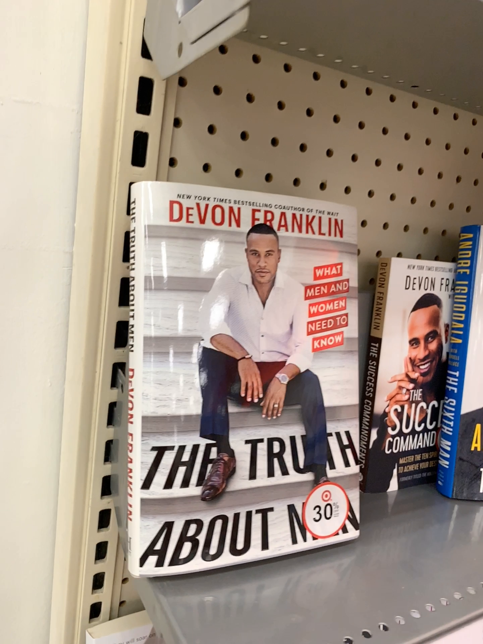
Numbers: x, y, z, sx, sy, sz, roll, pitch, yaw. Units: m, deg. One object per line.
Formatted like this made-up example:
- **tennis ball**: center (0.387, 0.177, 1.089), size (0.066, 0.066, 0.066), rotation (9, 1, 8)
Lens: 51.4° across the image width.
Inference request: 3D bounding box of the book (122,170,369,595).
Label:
- **book**: center (0.006, 0.033, 0.333), size (0.160, 0.236, 0.040), rotation (1, -3, -25)
